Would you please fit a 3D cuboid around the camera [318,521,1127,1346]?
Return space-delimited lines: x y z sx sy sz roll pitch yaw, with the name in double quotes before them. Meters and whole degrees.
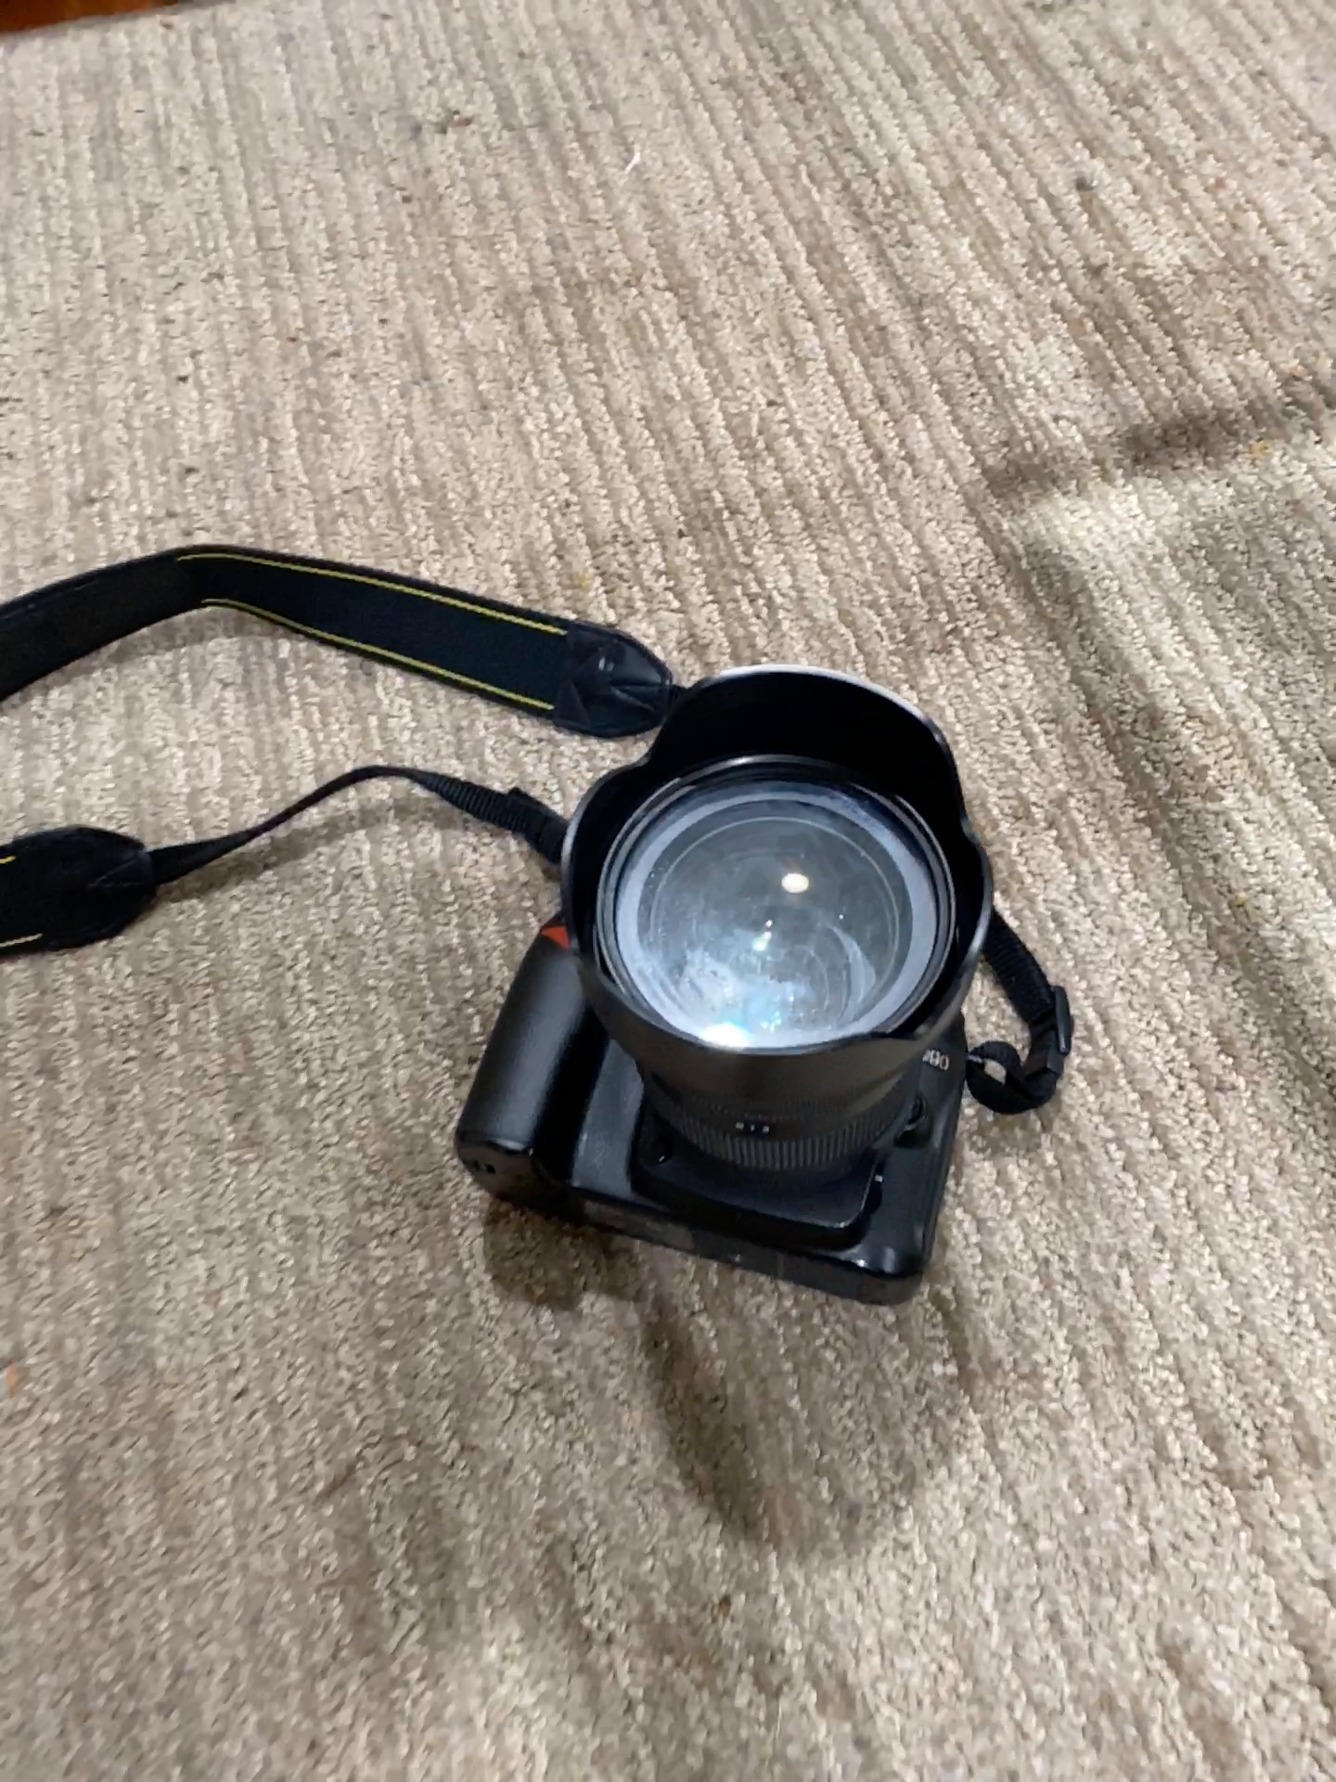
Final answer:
"camera" 0.018 0.020 0.346 0.138 0.165 0.114 13 61 9
